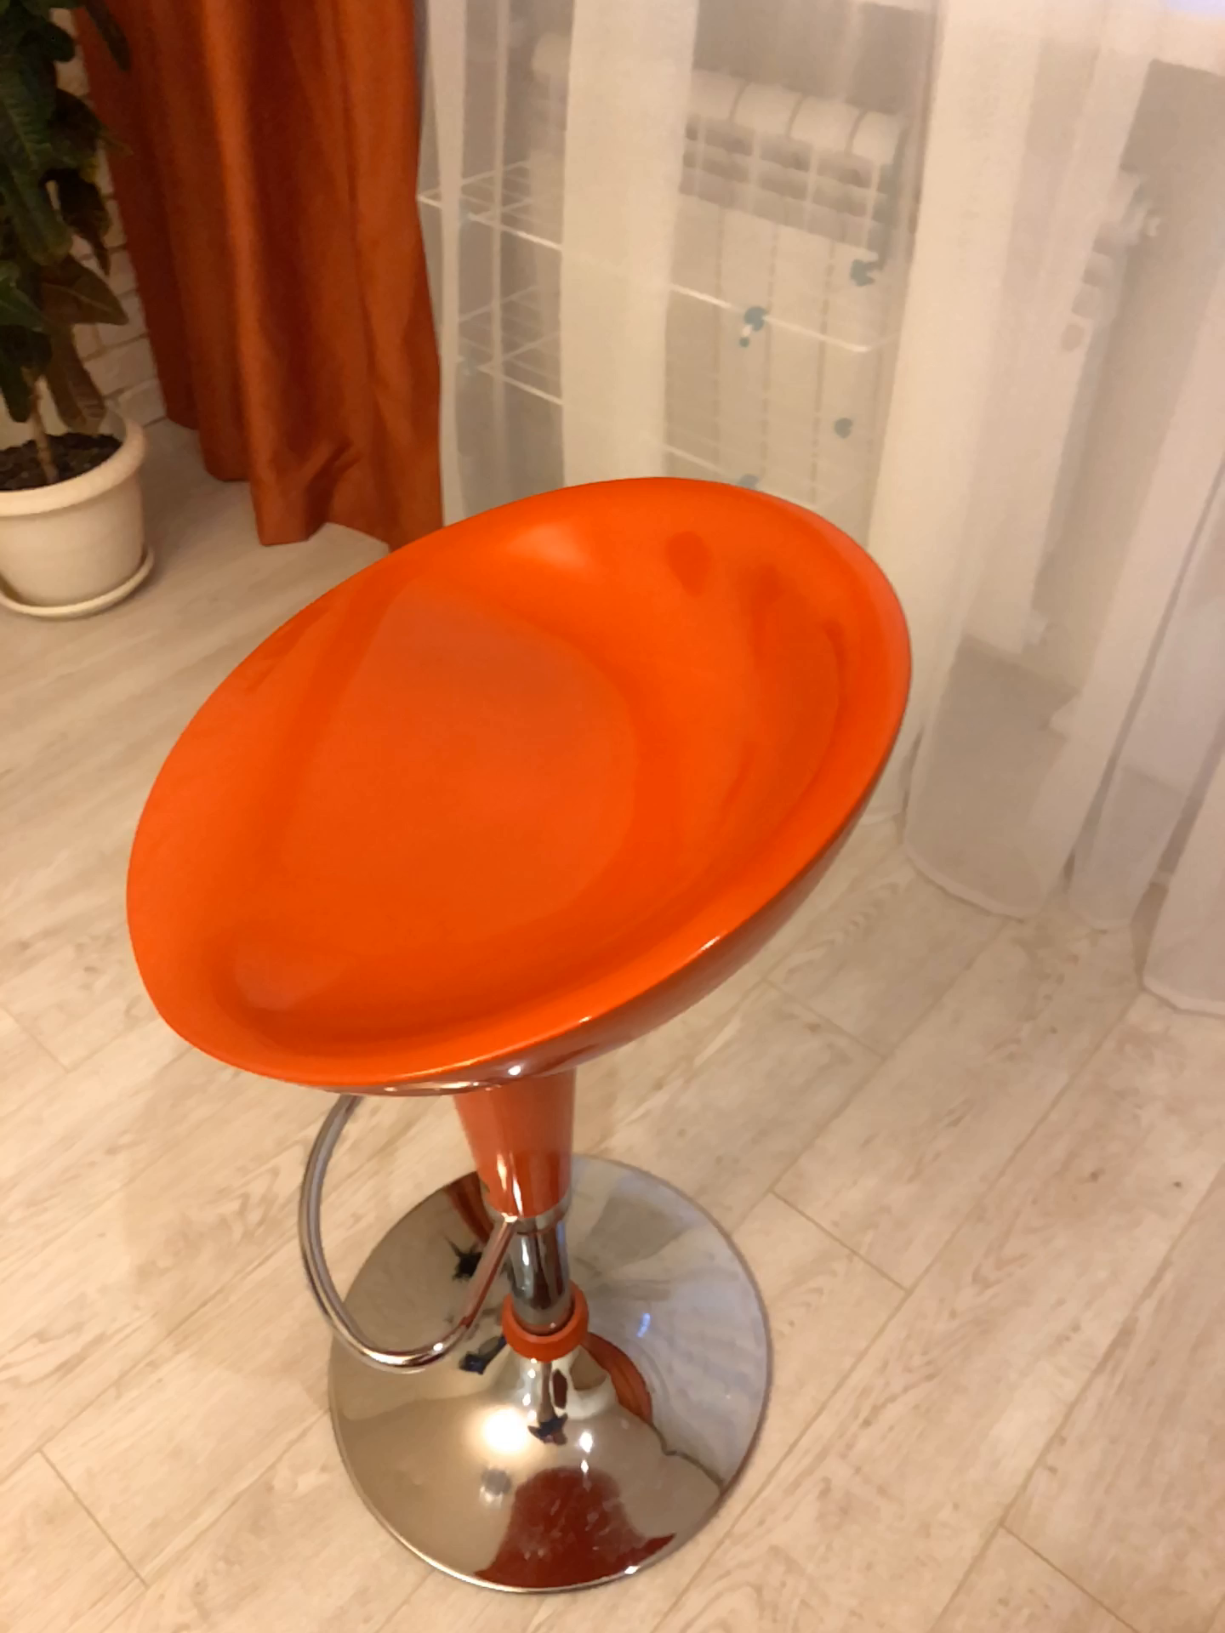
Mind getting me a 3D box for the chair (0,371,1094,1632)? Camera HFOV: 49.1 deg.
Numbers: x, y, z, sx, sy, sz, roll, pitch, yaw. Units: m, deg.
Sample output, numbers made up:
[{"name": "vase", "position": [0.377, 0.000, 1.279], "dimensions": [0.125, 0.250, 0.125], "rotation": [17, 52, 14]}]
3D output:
[{"name": "chair", "position": [-0.035, 0.180, 0.799], "dimensions": [0.390, 0.735, 0.403], "rotation": [2, 44, 4]}]
